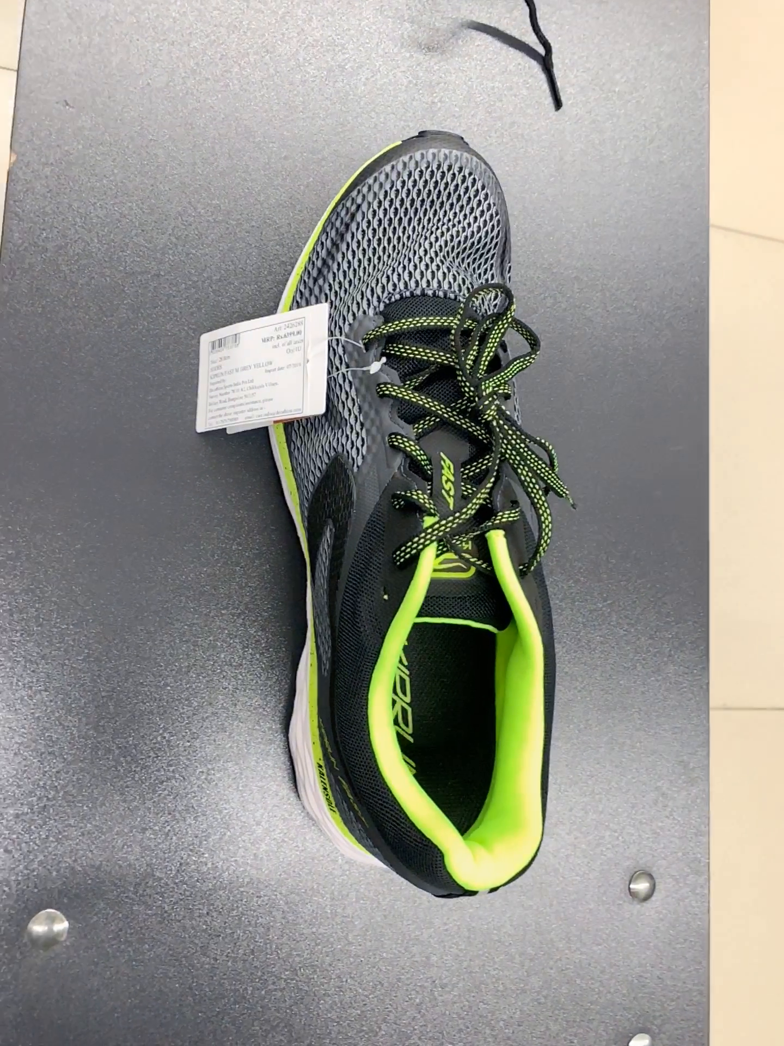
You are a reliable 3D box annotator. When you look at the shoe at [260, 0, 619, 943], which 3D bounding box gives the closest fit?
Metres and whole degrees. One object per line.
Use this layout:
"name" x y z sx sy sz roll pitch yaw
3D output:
"shoe" 0.011 -0.018 0.331 0.110 0.110 0.310 2 85 -17
